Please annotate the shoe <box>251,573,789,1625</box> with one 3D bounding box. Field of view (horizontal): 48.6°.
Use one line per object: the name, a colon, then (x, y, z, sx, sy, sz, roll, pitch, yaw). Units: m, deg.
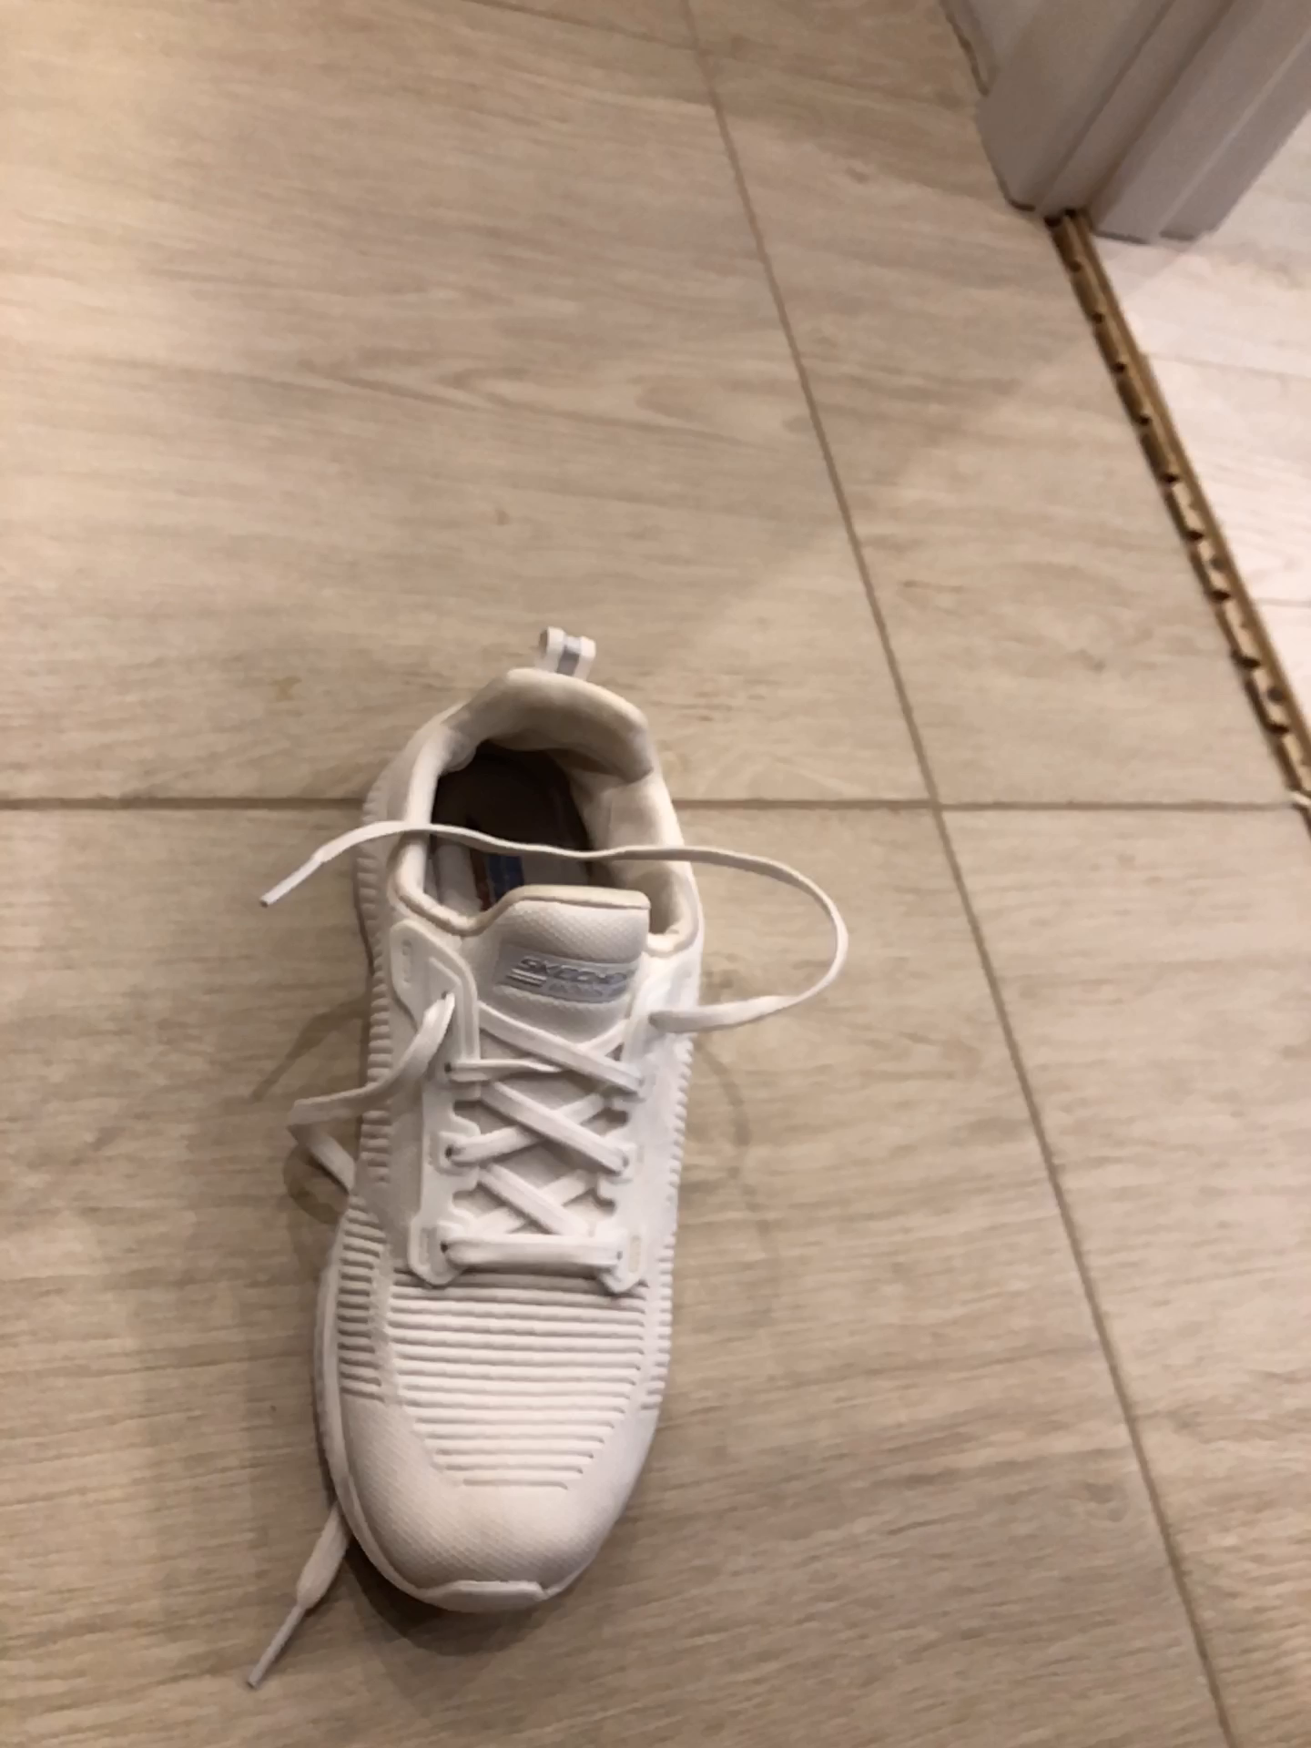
shoe: (-0.040, 0.060, 0.370, 0.090, 0.119, 0.231, 7, 62, -18)
